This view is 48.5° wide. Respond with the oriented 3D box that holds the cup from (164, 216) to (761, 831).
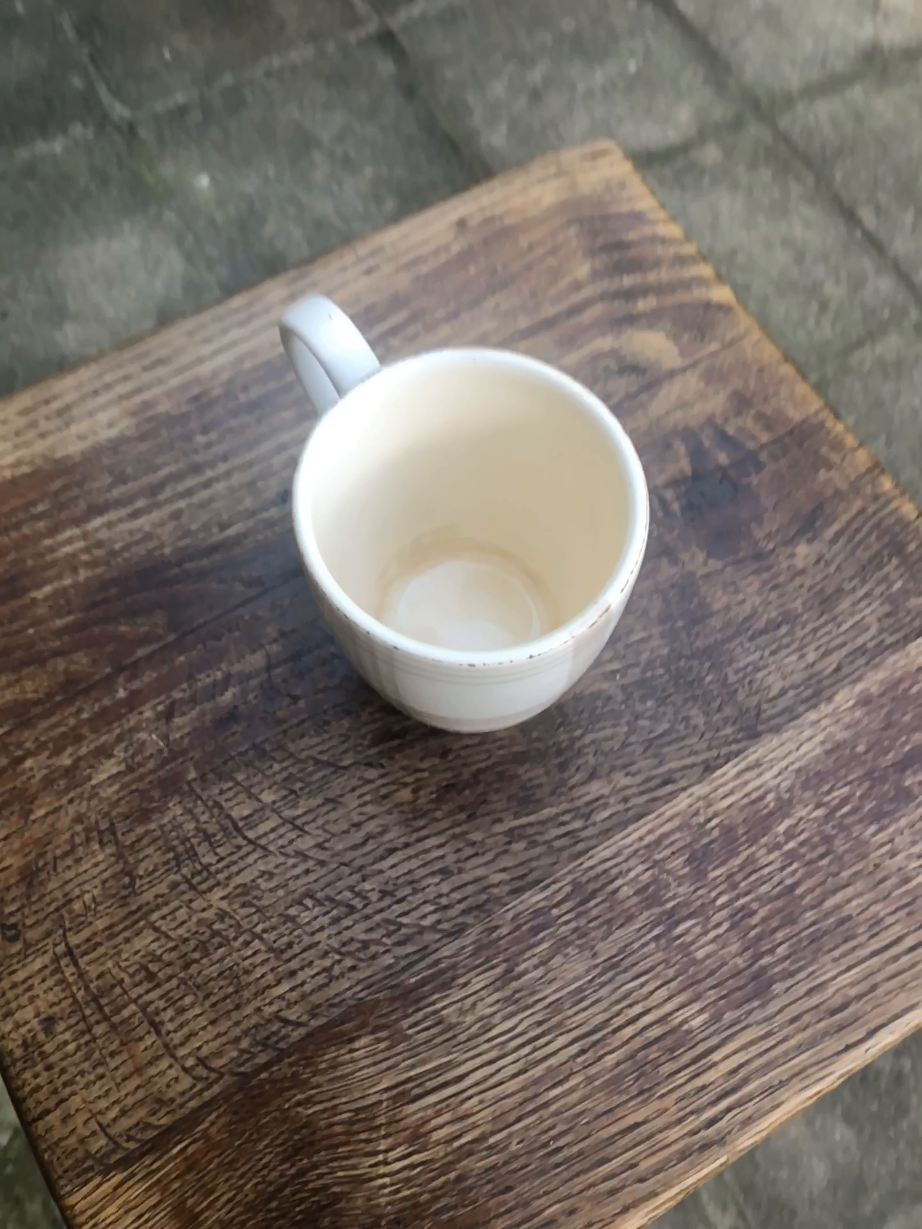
[{"bbox_3d":[-0.002,-0.022,0.285,0.088,0.078,0.124,-35,74,-13],"label":"cup"}]
